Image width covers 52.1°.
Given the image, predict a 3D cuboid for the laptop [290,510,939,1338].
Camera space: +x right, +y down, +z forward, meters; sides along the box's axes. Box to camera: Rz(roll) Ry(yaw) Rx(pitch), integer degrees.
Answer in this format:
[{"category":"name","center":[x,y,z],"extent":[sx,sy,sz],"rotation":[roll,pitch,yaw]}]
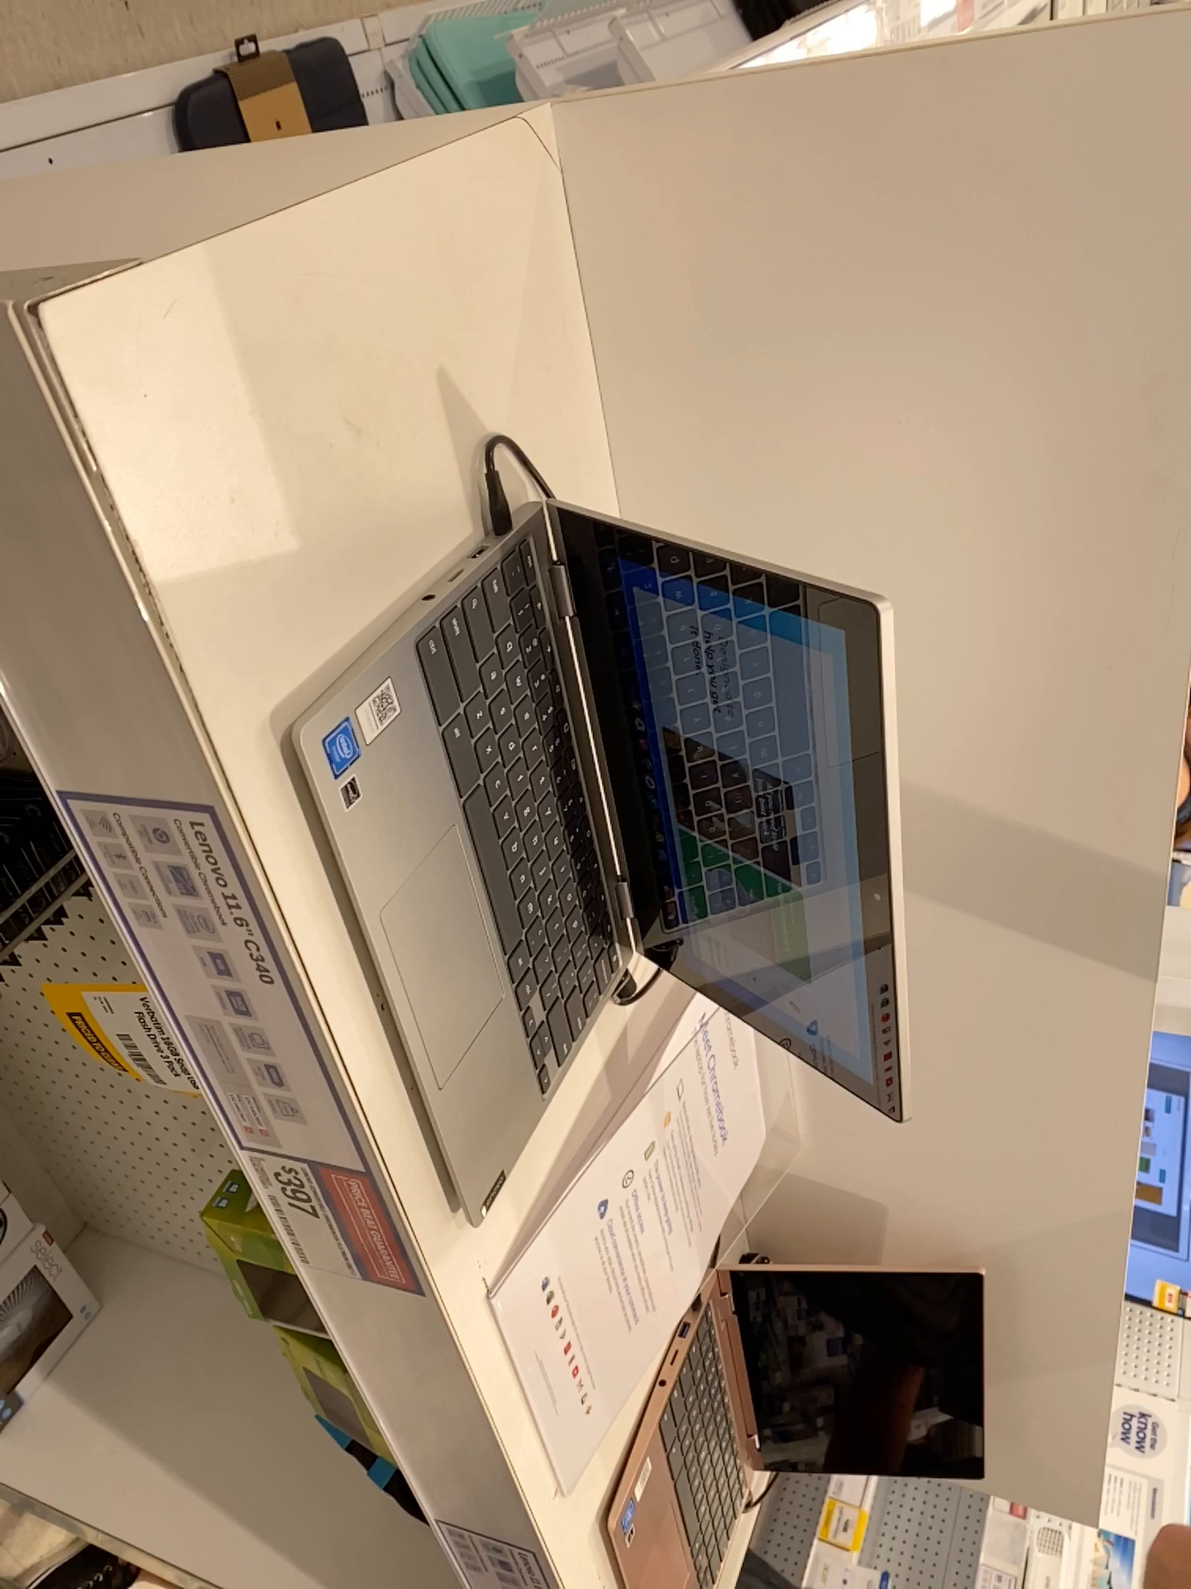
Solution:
[{"category":"laptop","center":[0.038,0.047,0.546],"extent":[0.201,0.180,0.284],"rotation":[-54,142,-46]}]
